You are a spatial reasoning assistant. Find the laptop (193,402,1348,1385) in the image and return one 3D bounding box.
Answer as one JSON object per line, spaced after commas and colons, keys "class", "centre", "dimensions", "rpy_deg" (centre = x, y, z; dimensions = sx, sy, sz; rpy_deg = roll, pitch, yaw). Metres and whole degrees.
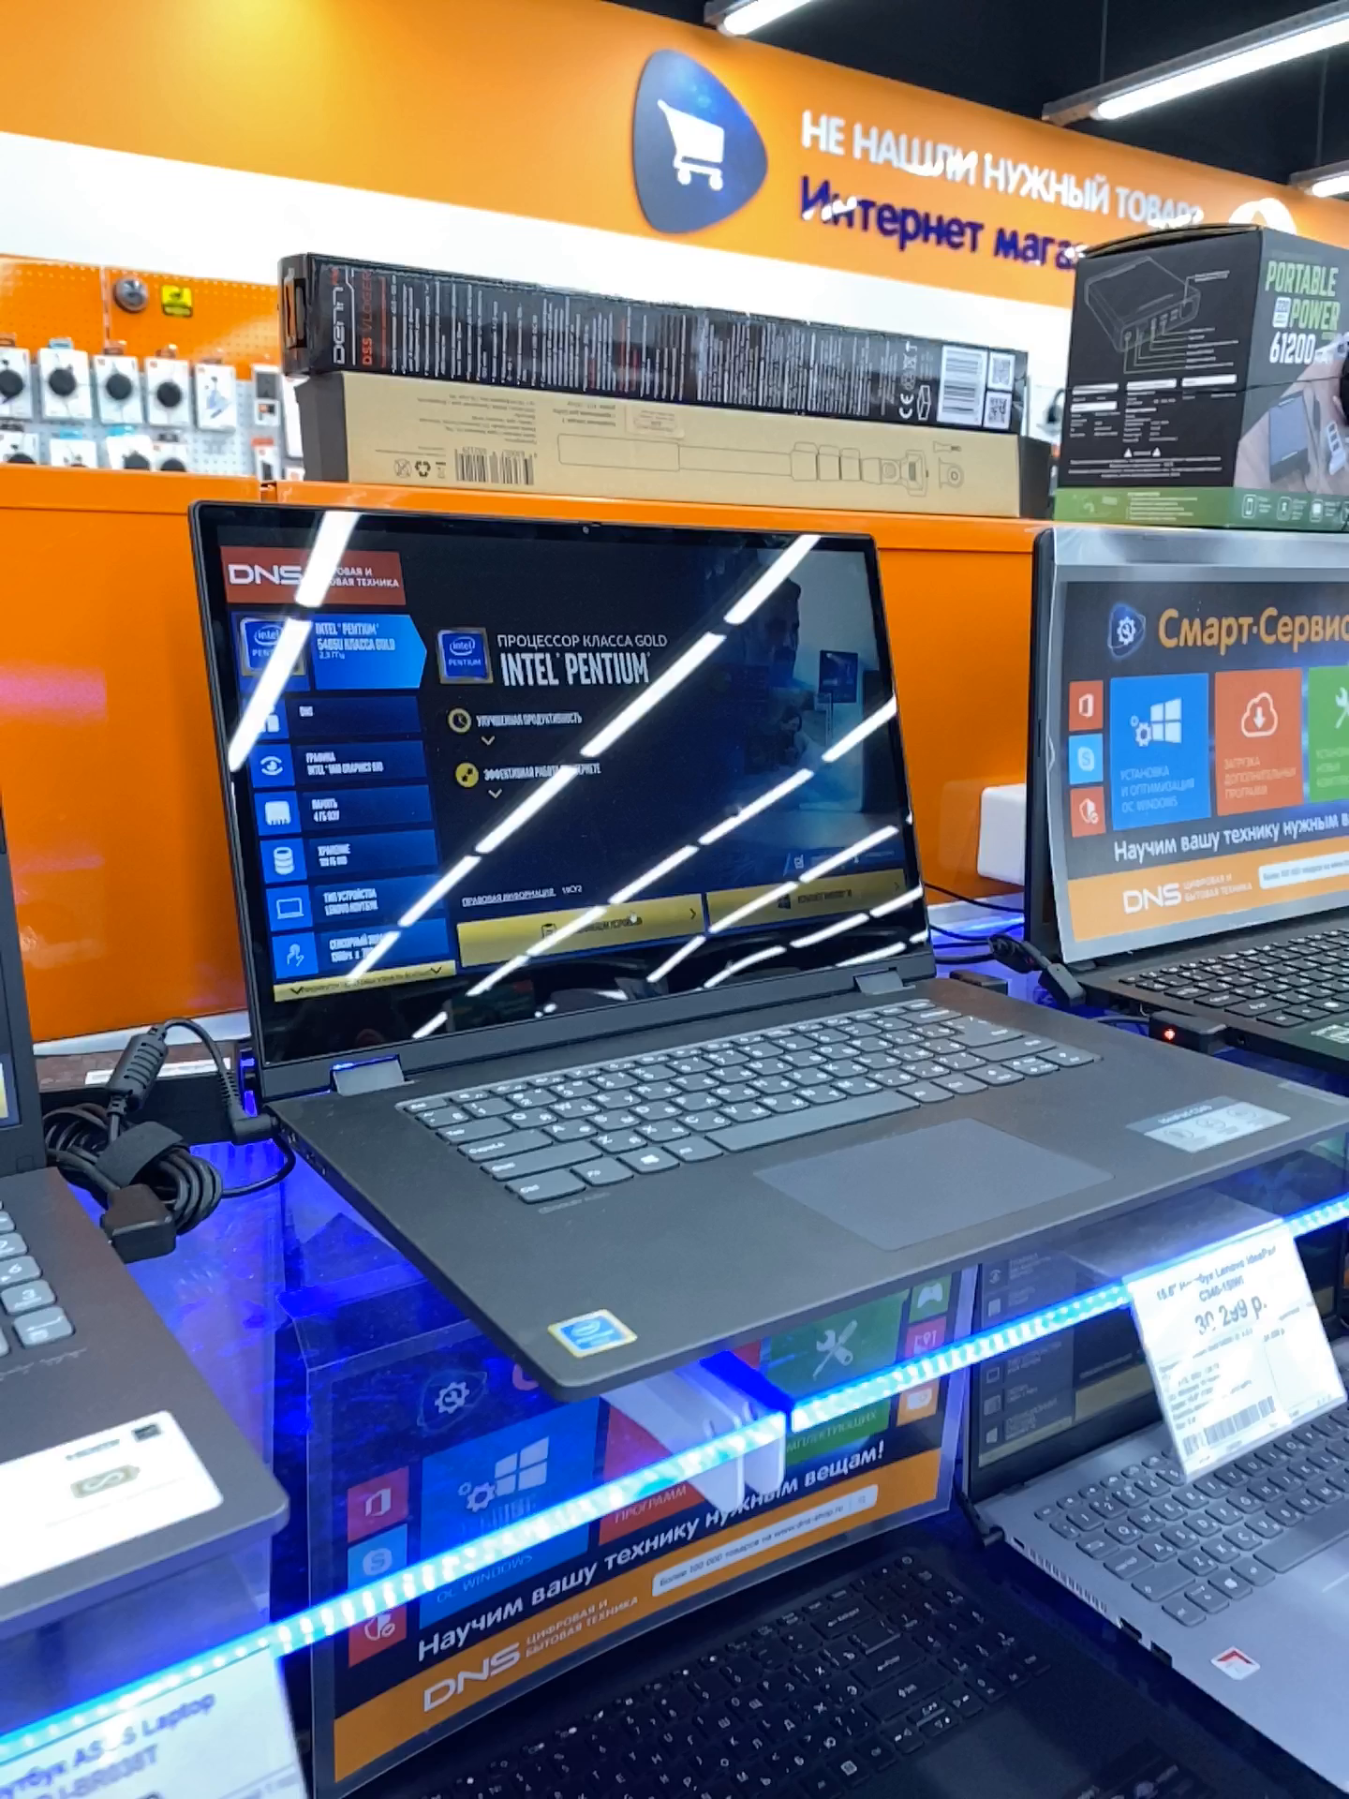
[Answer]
{"class": "laptop", "centre": [0.041, -0.038, 0.553], "dimensions": [0.362, 0.232, 0.318], "rpy_deg": [-6, 13, -34]}
